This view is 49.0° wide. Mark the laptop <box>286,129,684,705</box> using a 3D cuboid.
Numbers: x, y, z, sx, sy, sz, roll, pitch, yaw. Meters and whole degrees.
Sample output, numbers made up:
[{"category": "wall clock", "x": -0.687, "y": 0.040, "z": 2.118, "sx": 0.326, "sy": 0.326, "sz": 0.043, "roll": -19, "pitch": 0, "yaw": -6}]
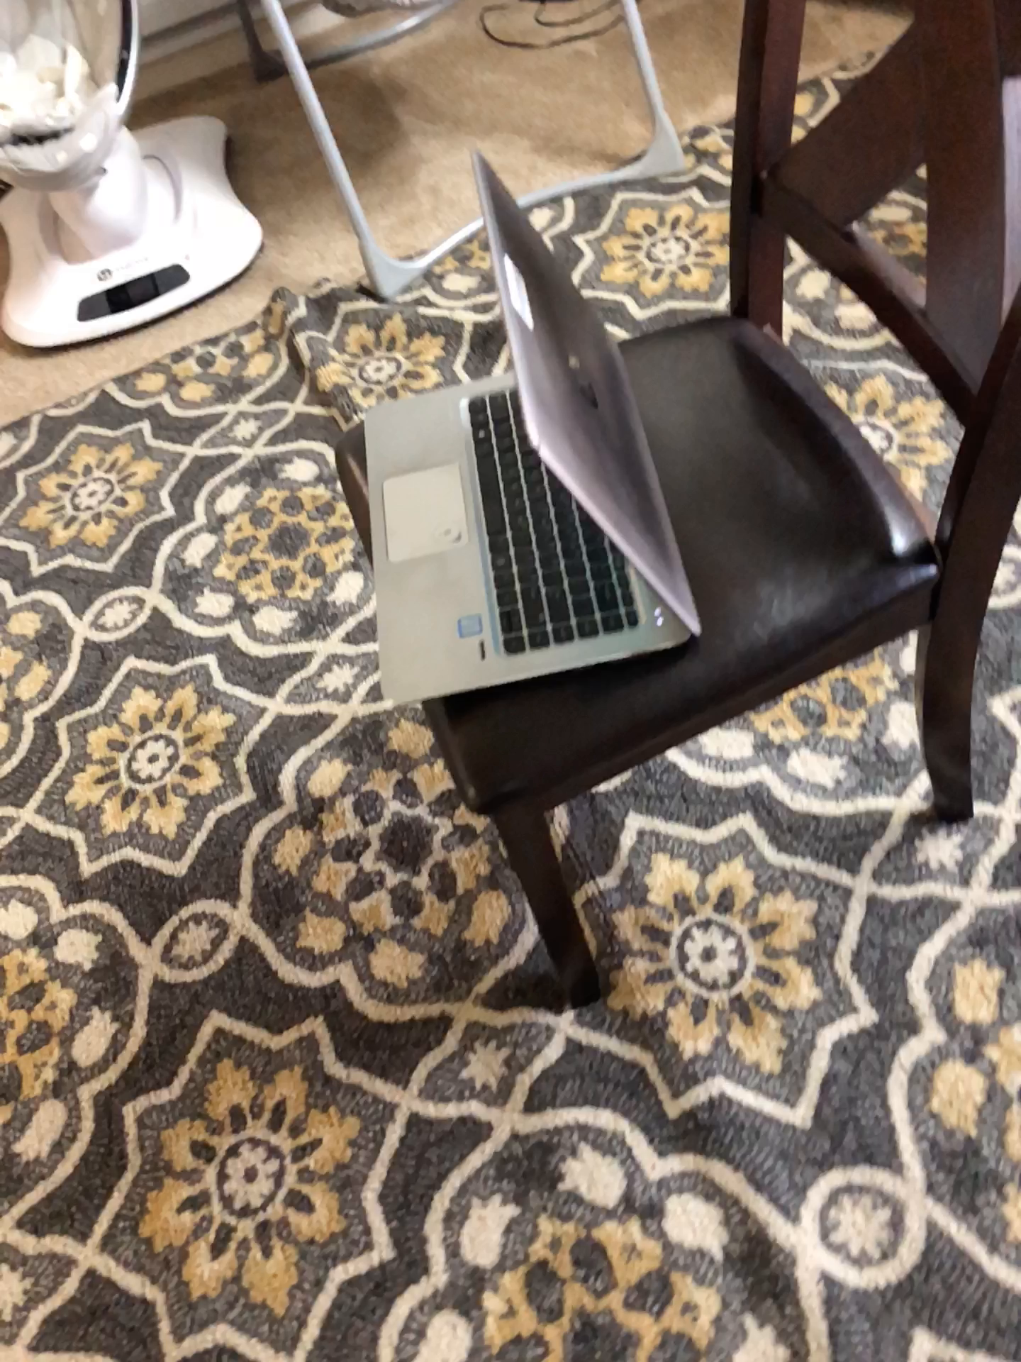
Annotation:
[{"category": "laptop", "x": -0.023, "y": -0.188, "z": 0.793, "sx": 0.211, "sy": 0.193, "sz": 0.323, "roll": -12, "pitch": 54, "yaw": 6}]
